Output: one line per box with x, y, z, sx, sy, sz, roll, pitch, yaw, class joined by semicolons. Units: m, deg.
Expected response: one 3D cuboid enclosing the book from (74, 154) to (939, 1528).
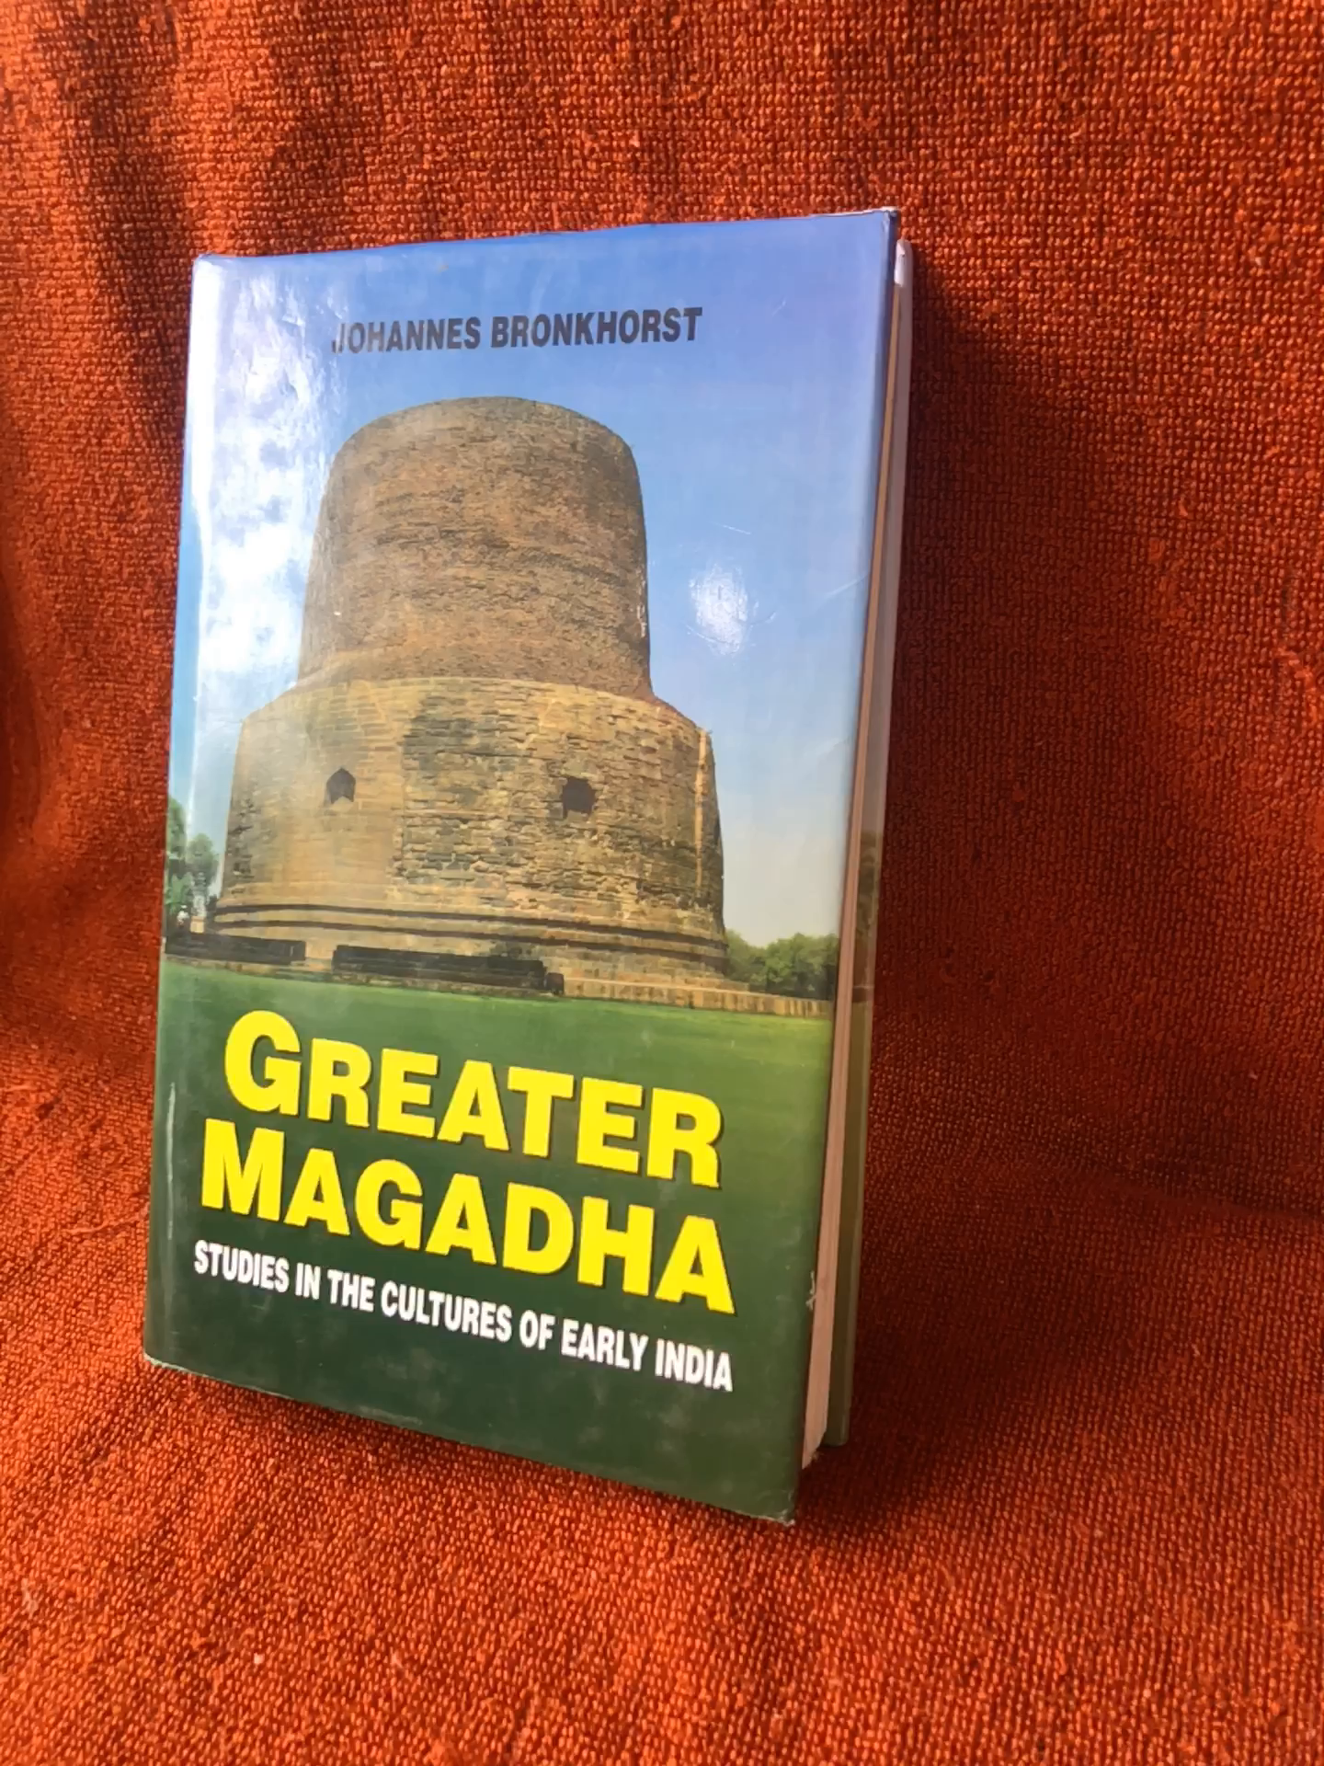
-0.035;-0.011;0.274;0.150;0.220;0.030;6;5;21;book
